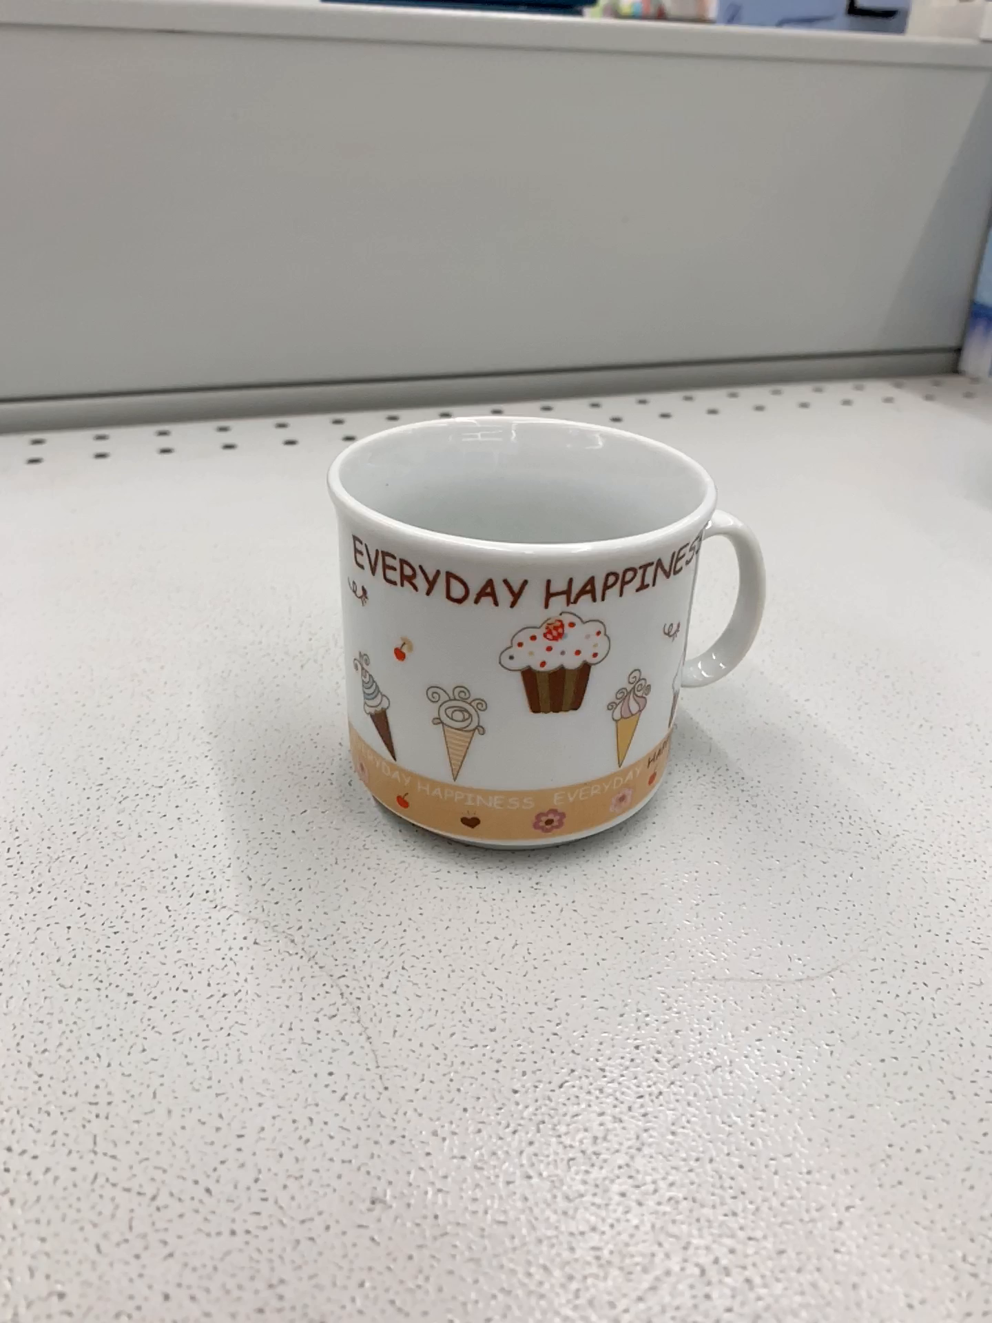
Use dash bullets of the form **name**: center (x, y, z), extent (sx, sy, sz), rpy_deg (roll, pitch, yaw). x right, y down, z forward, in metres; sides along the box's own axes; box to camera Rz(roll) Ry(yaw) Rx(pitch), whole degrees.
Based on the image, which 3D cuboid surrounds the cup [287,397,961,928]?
- **cup**: center (0.019, -0.008, 0.219), extent (0.108, 0.069, 0.079), rpy_deg (-8, 31, -16)
